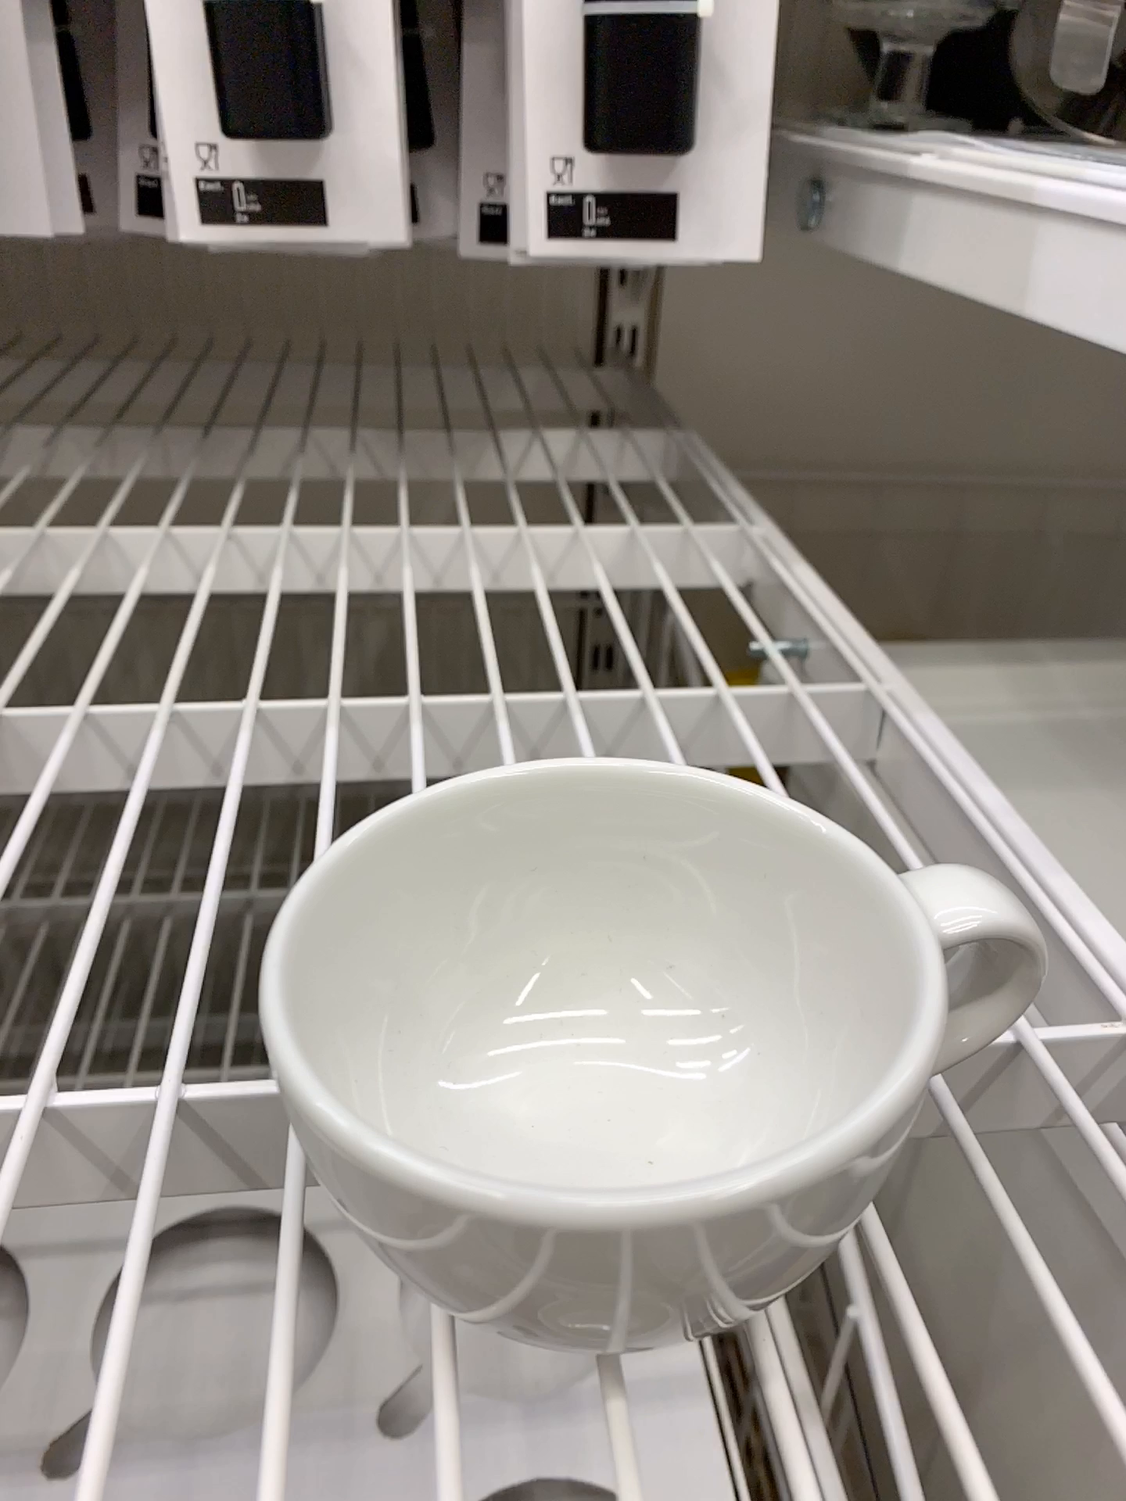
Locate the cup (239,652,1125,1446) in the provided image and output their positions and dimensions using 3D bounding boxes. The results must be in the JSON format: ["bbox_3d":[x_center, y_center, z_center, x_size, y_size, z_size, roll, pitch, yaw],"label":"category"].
[{"bbox_3d":[0.017,0.026,0.165,0.116,0.036,0.097,-5,30,-14],"label":"cup"}]
